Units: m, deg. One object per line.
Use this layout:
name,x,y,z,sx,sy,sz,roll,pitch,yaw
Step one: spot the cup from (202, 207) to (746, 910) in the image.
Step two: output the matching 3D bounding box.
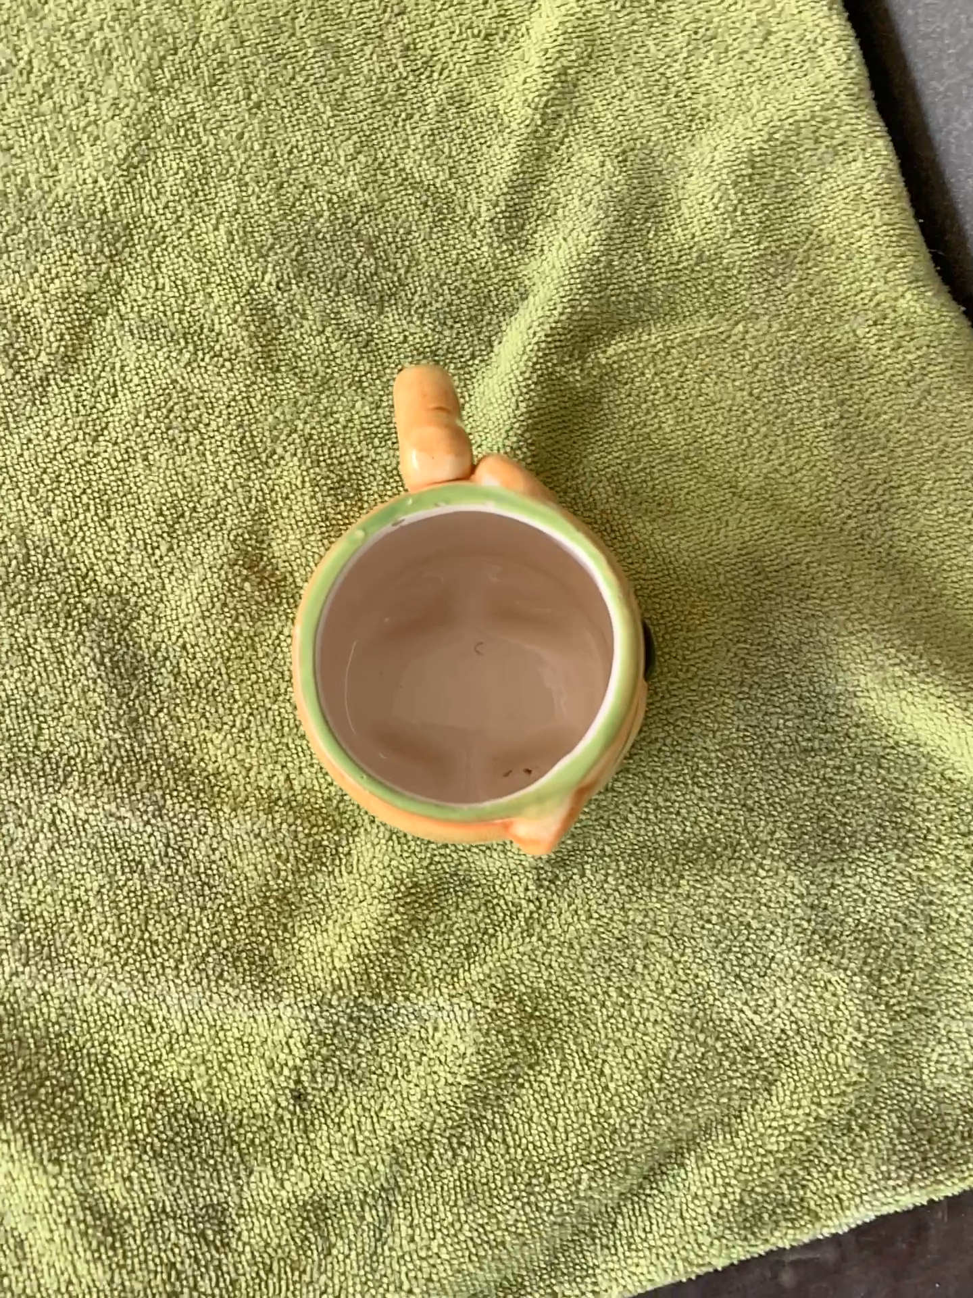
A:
cup,-0.005,-0.016,0.254,0.080,0.100,0.130,-15,84,-3
